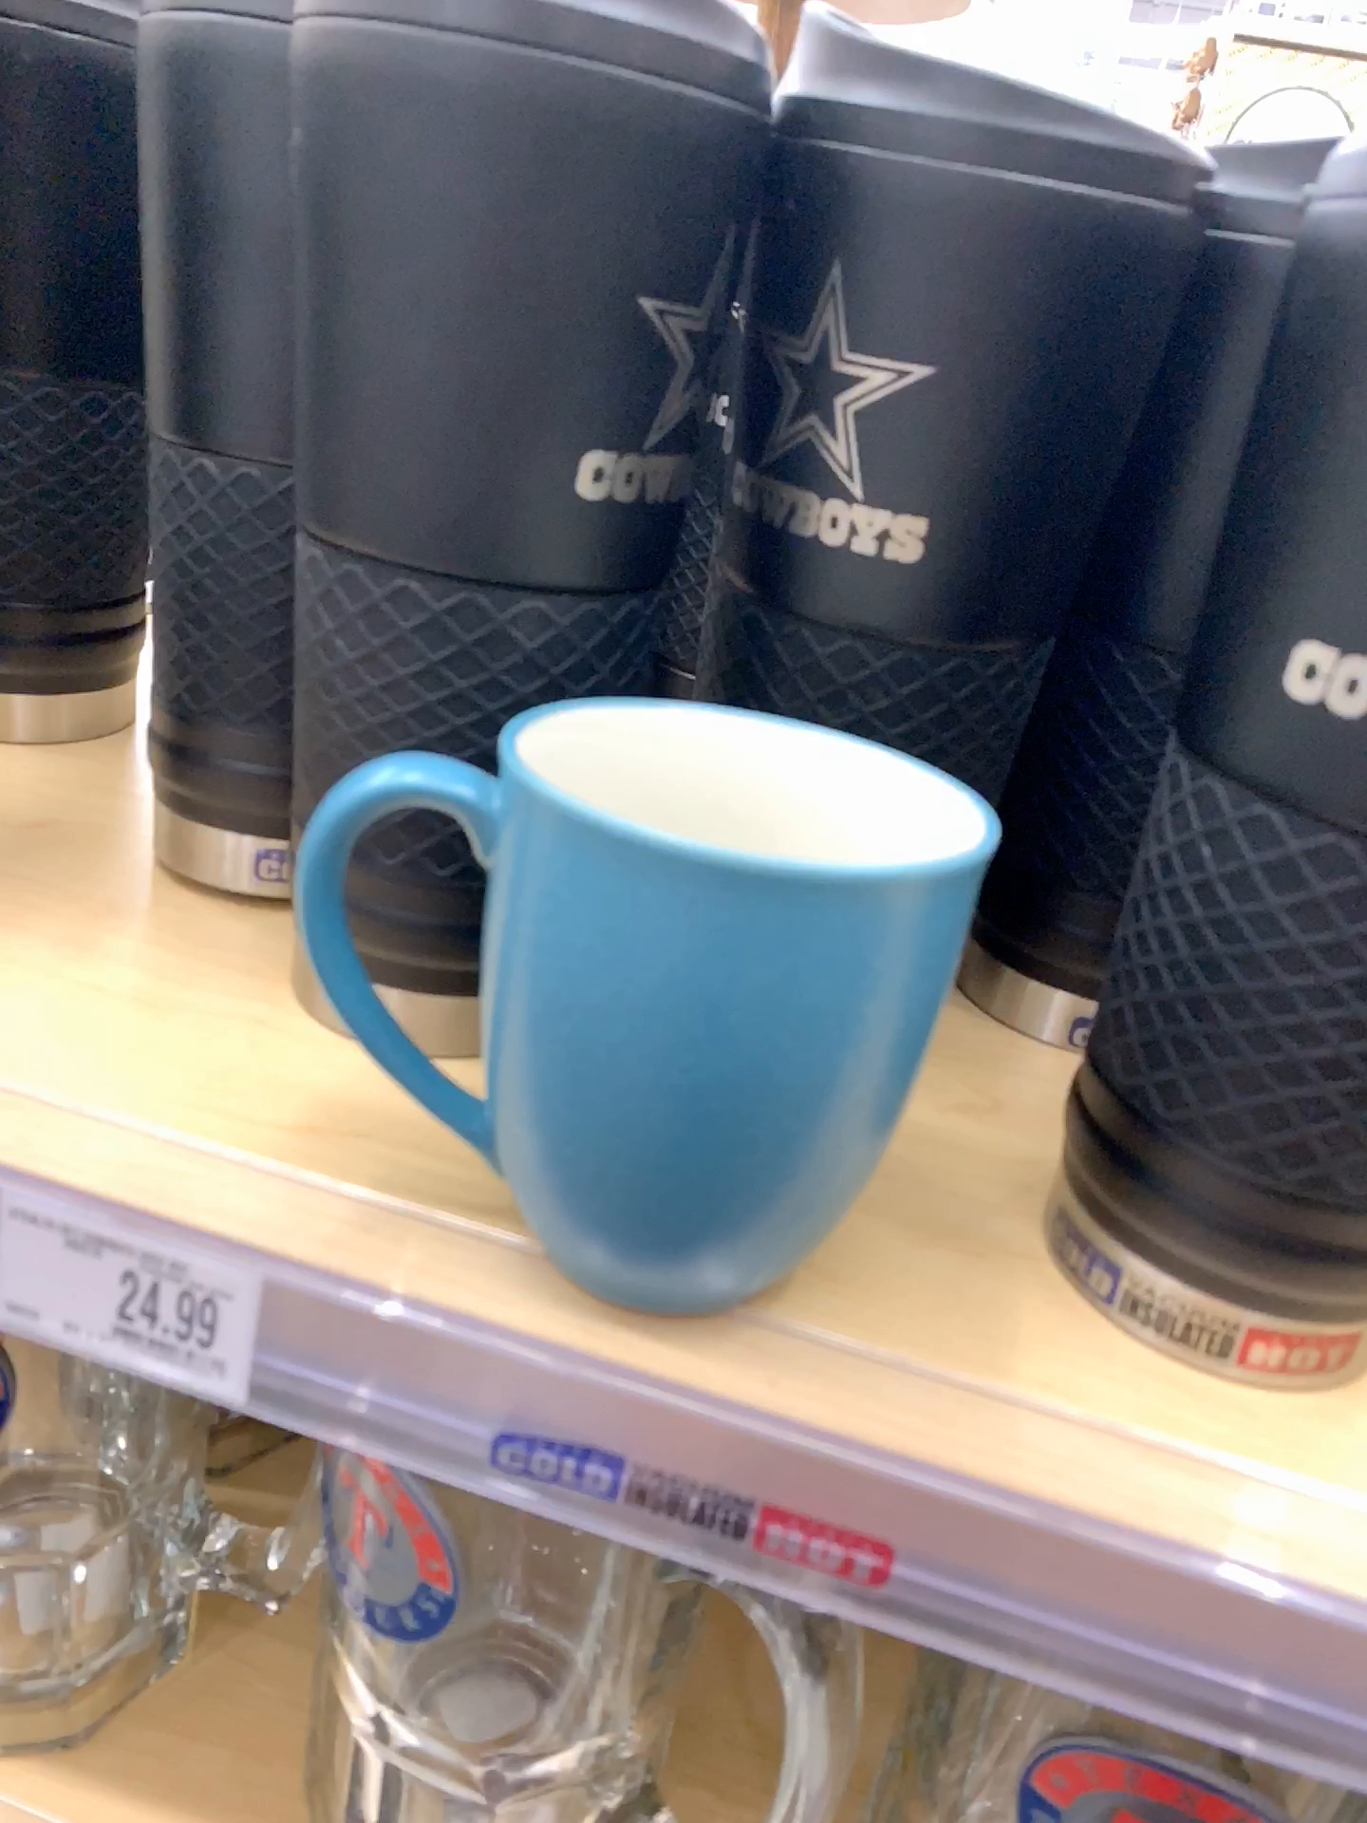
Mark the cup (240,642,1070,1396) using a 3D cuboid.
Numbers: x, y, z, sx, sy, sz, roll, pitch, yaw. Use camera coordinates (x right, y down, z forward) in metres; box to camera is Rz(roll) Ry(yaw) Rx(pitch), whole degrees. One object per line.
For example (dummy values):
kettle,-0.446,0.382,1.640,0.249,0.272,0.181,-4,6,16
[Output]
cup,-0.005,0.012,0.255,0.116,0.084,0.090,11,24,2
